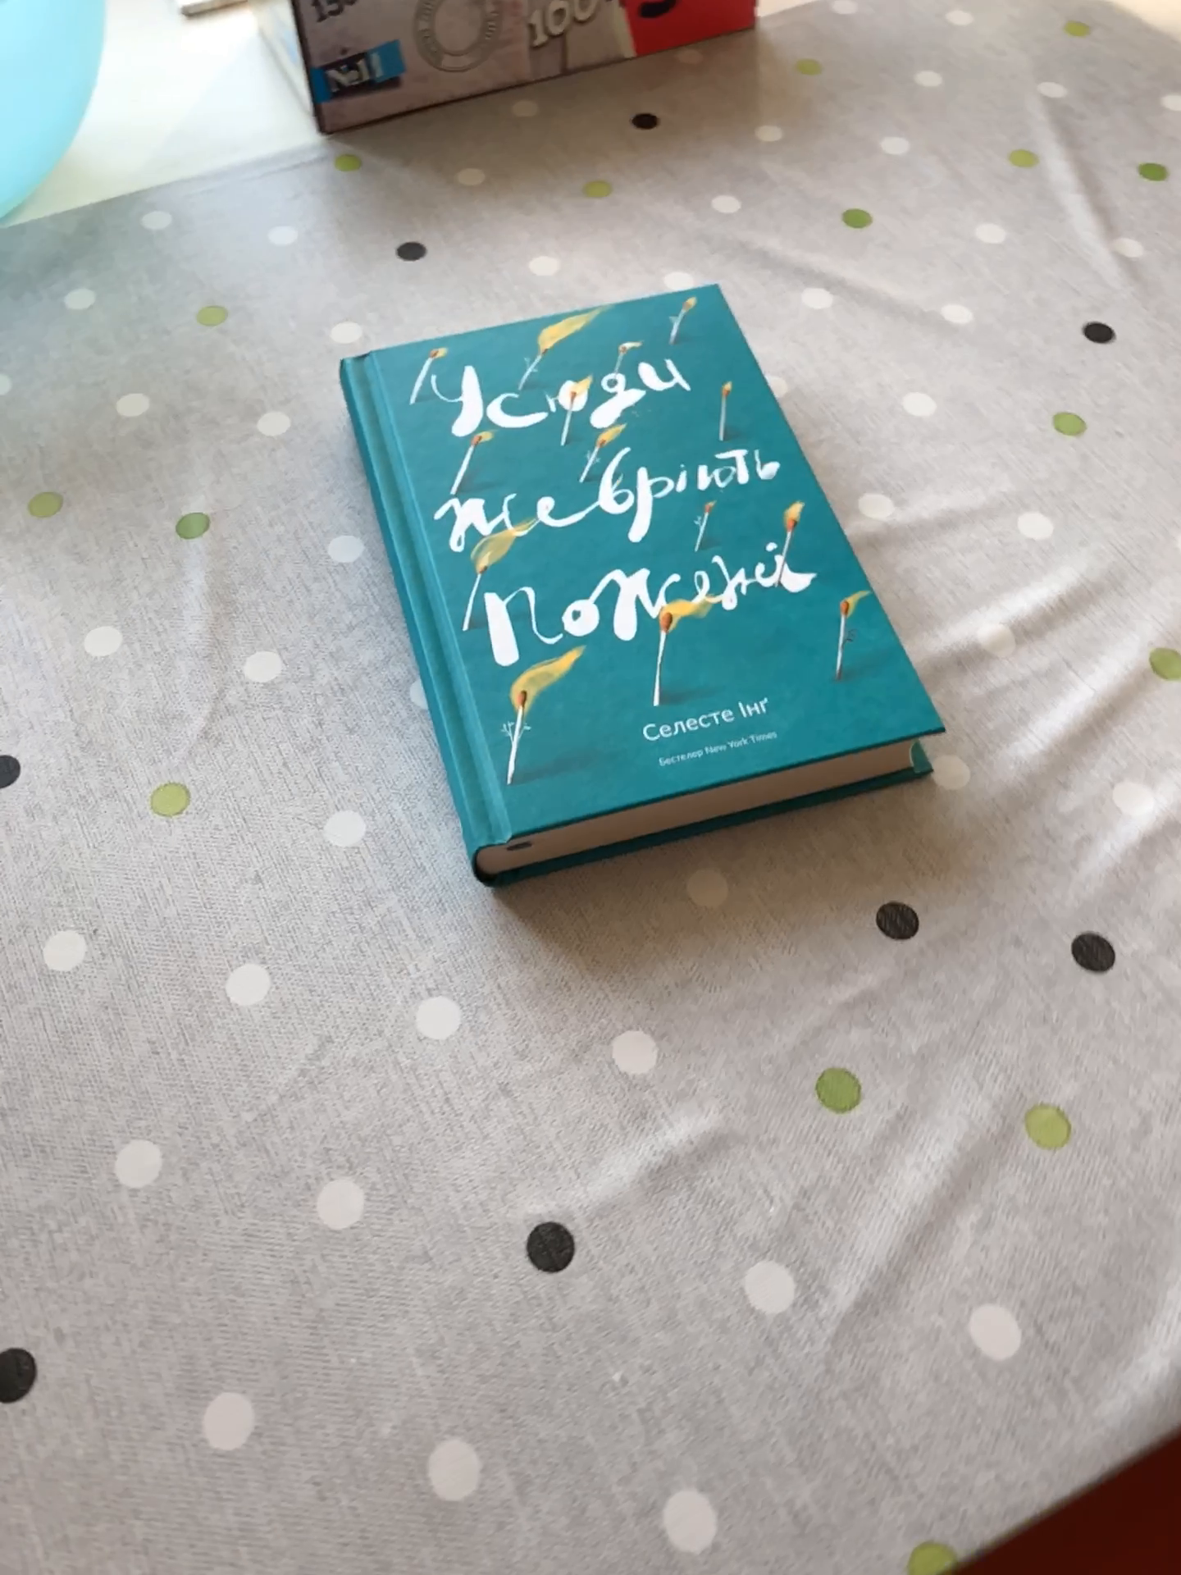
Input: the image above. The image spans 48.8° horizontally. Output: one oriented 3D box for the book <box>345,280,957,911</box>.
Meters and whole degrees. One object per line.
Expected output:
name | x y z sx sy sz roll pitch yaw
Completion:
book | 0.010 -0.077 0.444 0.143 0.040 0.214 -14 59 -8
